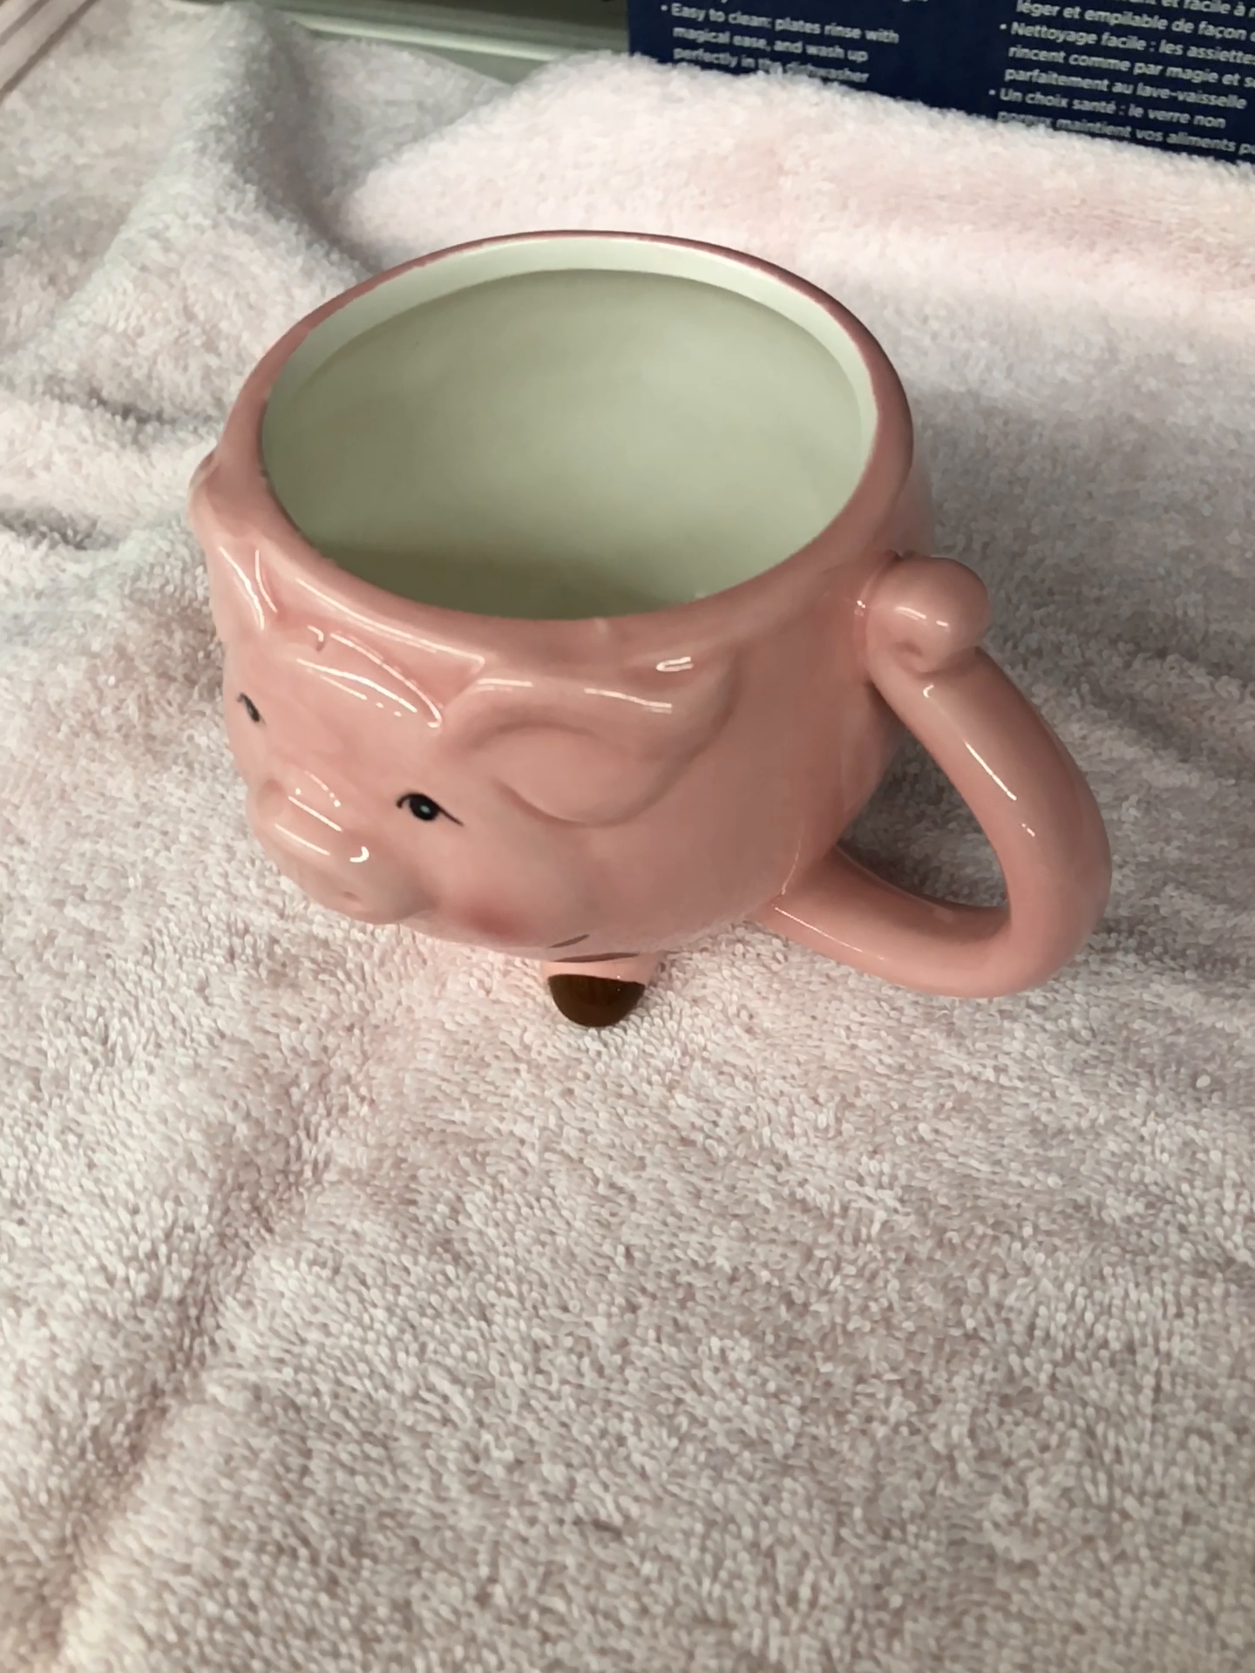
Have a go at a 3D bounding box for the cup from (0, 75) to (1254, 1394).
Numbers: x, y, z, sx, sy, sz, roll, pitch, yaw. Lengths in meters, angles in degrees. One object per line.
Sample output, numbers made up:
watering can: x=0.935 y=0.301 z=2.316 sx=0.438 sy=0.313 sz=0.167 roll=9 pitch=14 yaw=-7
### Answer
cup: x=0.004 y=-0.021 z=0.200 sx=0.150 sy=0.090 sz=0.100 roll=32 pitch=62 yaw=23
